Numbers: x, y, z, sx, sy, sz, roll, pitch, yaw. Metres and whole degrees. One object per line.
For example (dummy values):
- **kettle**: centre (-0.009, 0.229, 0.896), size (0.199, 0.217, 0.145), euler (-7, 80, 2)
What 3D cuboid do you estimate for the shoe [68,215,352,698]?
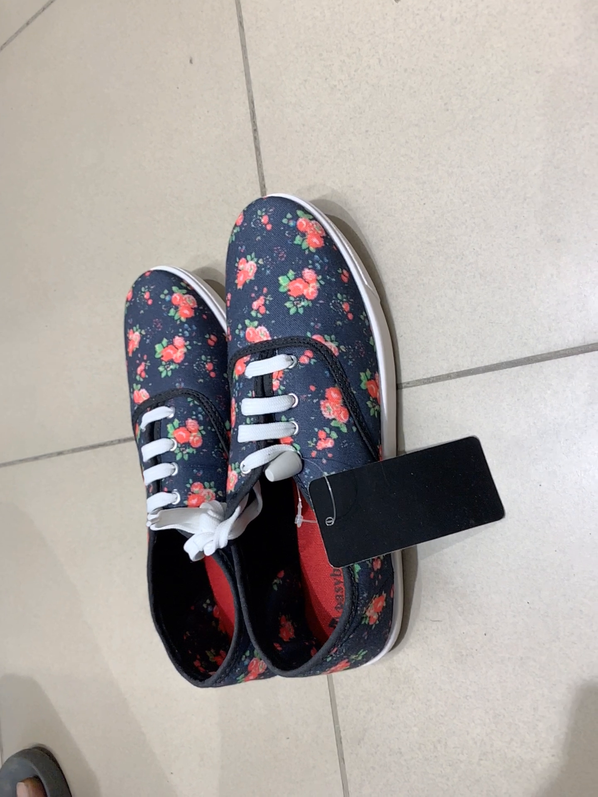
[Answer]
- **shoe**: centre (-0.062, 0.036, 0.399), size (0.101, 0.080, 0.270), euler (-21, 77, 34)

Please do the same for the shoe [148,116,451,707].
- **shoe**: centre (-0.003, 0.008, 0.339), size (0.101, 0.080, 0.270), euler (-13, 82, 35)
